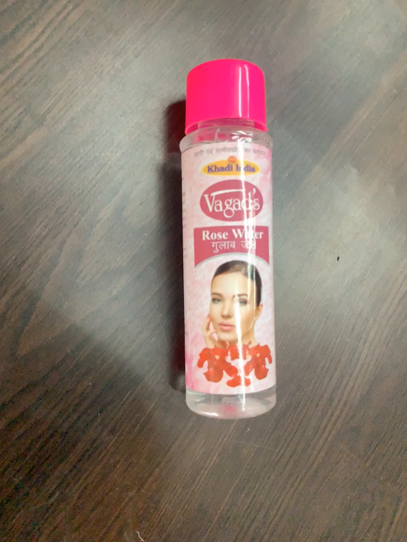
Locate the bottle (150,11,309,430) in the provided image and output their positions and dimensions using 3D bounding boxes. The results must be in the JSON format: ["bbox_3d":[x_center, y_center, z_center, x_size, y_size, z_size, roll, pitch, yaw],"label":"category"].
[{"bbox_3d":[0.007,-0.016,0.167,0.050,0.040,0.140,0,93,-15],"label":"bottle"}]
